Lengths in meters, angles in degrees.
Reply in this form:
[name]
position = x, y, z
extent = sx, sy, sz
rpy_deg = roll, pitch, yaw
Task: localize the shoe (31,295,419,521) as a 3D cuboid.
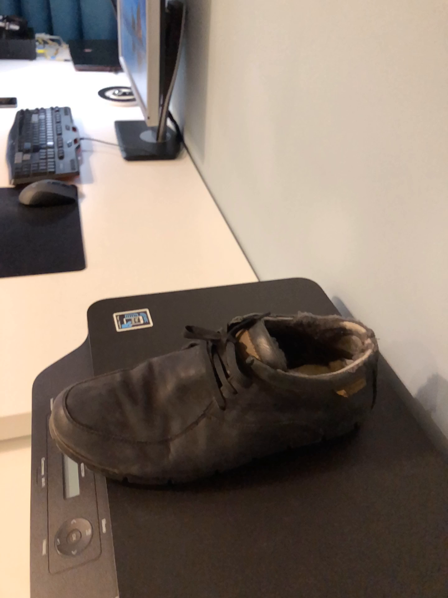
[shoe]
position = -0.003, 0.084, 0.422
extent = 0.280, 0.109, 0.111
rpy_deg = -5, 40, -12
